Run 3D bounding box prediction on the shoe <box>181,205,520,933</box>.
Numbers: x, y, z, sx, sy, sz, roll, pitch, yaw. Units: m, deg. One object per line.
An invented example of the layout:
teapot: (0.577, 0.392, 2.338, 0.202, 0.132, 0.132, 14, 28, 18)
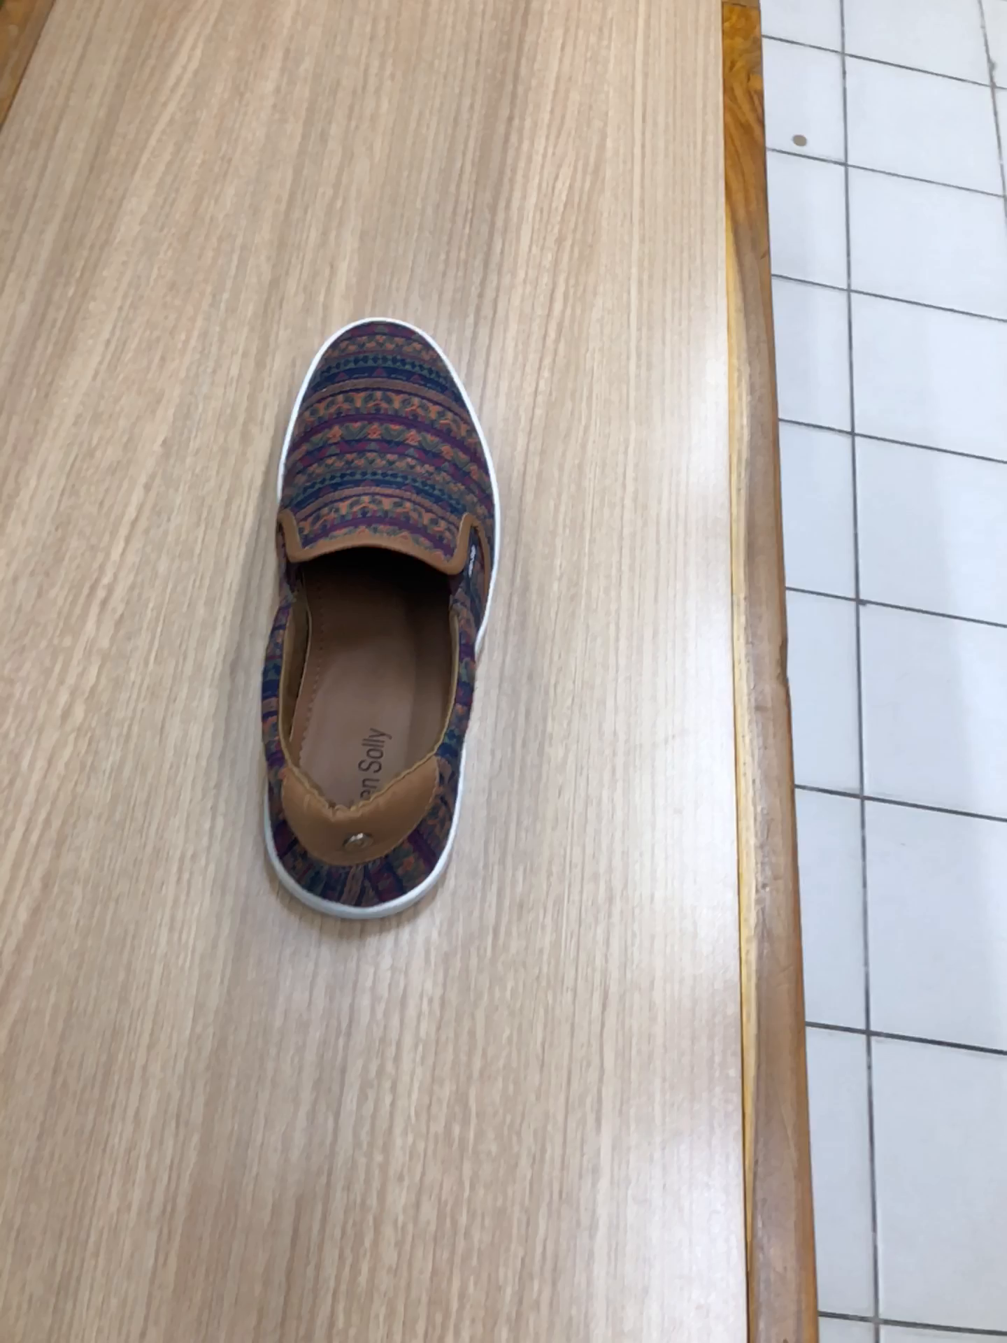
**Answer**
shoe: (-0.051, -0.044, 0.439, 0.100, 0.090, 0.271, 4, 64, -7)
